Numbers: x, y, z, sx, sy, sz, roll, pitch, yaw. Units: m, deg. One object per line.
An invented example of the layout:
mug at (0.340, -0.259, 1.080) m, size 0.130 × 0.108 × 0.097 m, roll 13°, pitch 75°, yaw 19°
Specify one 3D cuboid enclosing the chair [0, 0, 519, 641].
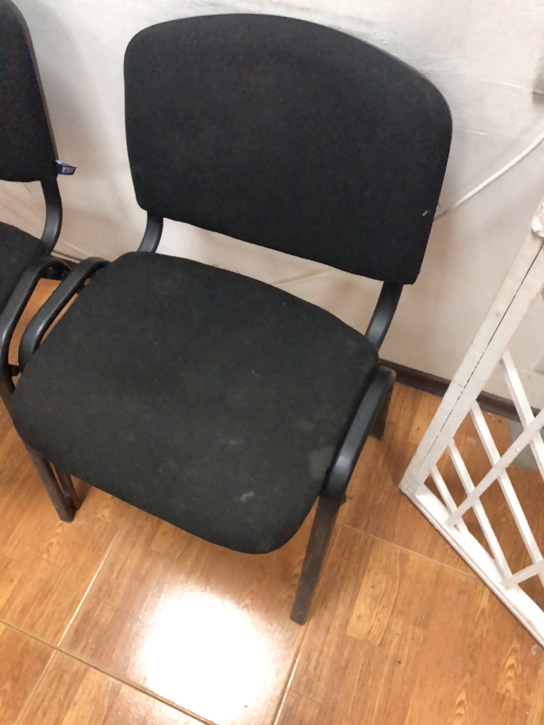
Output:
chair at (-0.081, -0.008, 0.864) m, size 0.520 × 0.749 × 0.511 m, roll 20°, pitch 62°, yaw 13°
